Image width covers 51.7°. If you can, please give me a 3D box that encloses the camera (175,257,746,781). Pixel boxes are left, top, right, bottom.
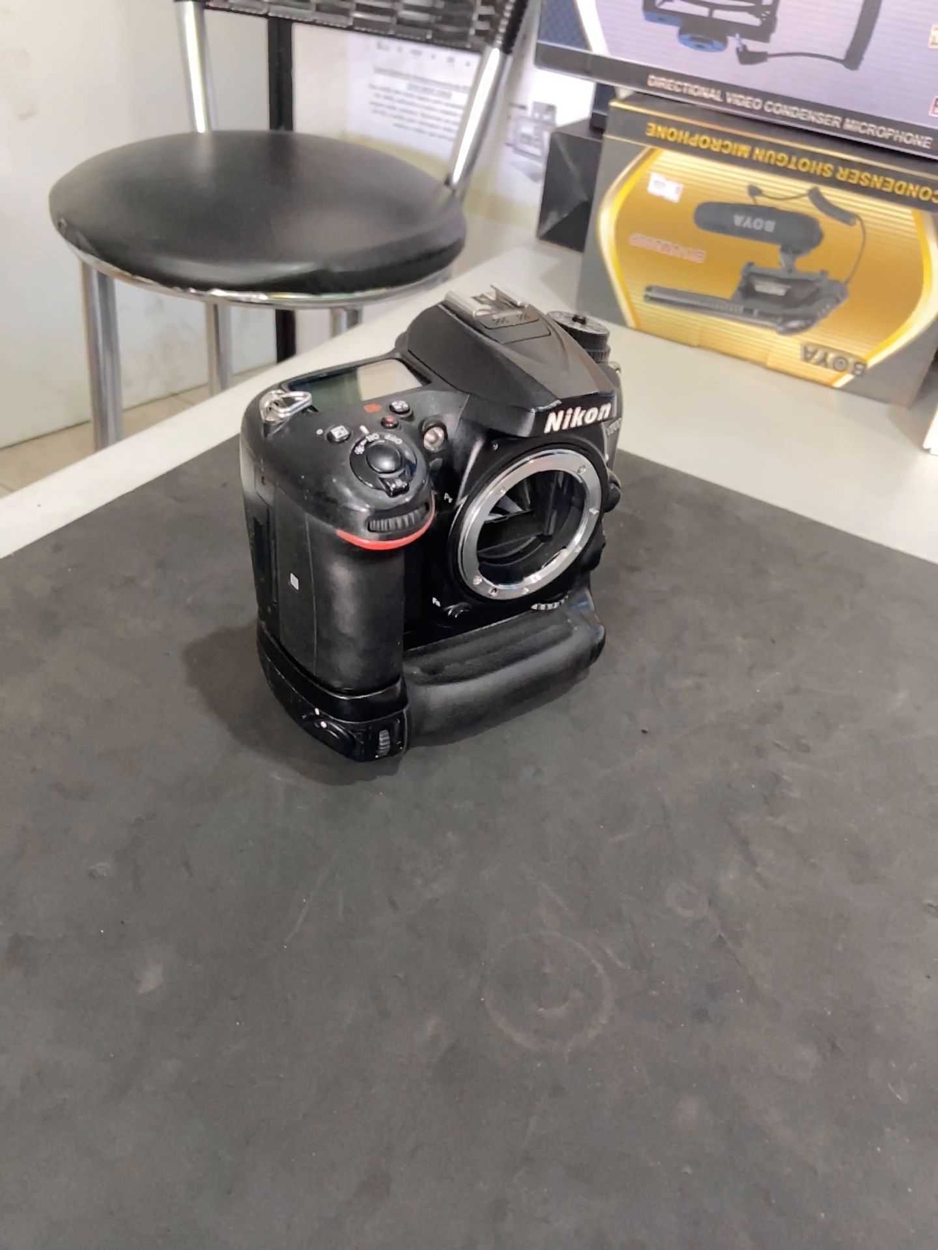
[{"bbox_3d":[-0.006,-0.044,0.324,0.140,0.109,0.100,-20,45,-29],"label":"camera"}]
